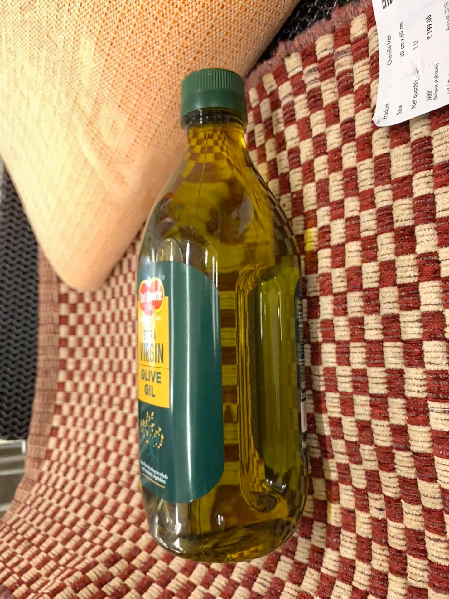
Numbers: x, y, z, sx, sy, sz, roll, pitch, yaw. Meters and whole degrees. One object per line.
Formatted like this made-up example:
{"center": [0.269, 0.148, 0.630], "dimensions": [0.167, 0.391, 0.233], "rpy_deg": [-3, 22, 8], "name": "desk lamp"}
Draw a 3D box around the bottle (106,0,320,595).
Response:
{"center": [-0.006, -0.003, 0.252], "dimensions": [0.080, 0.080, 0.250], "rpy_deg": [-1, 89, 48], "name": "bottle"}
